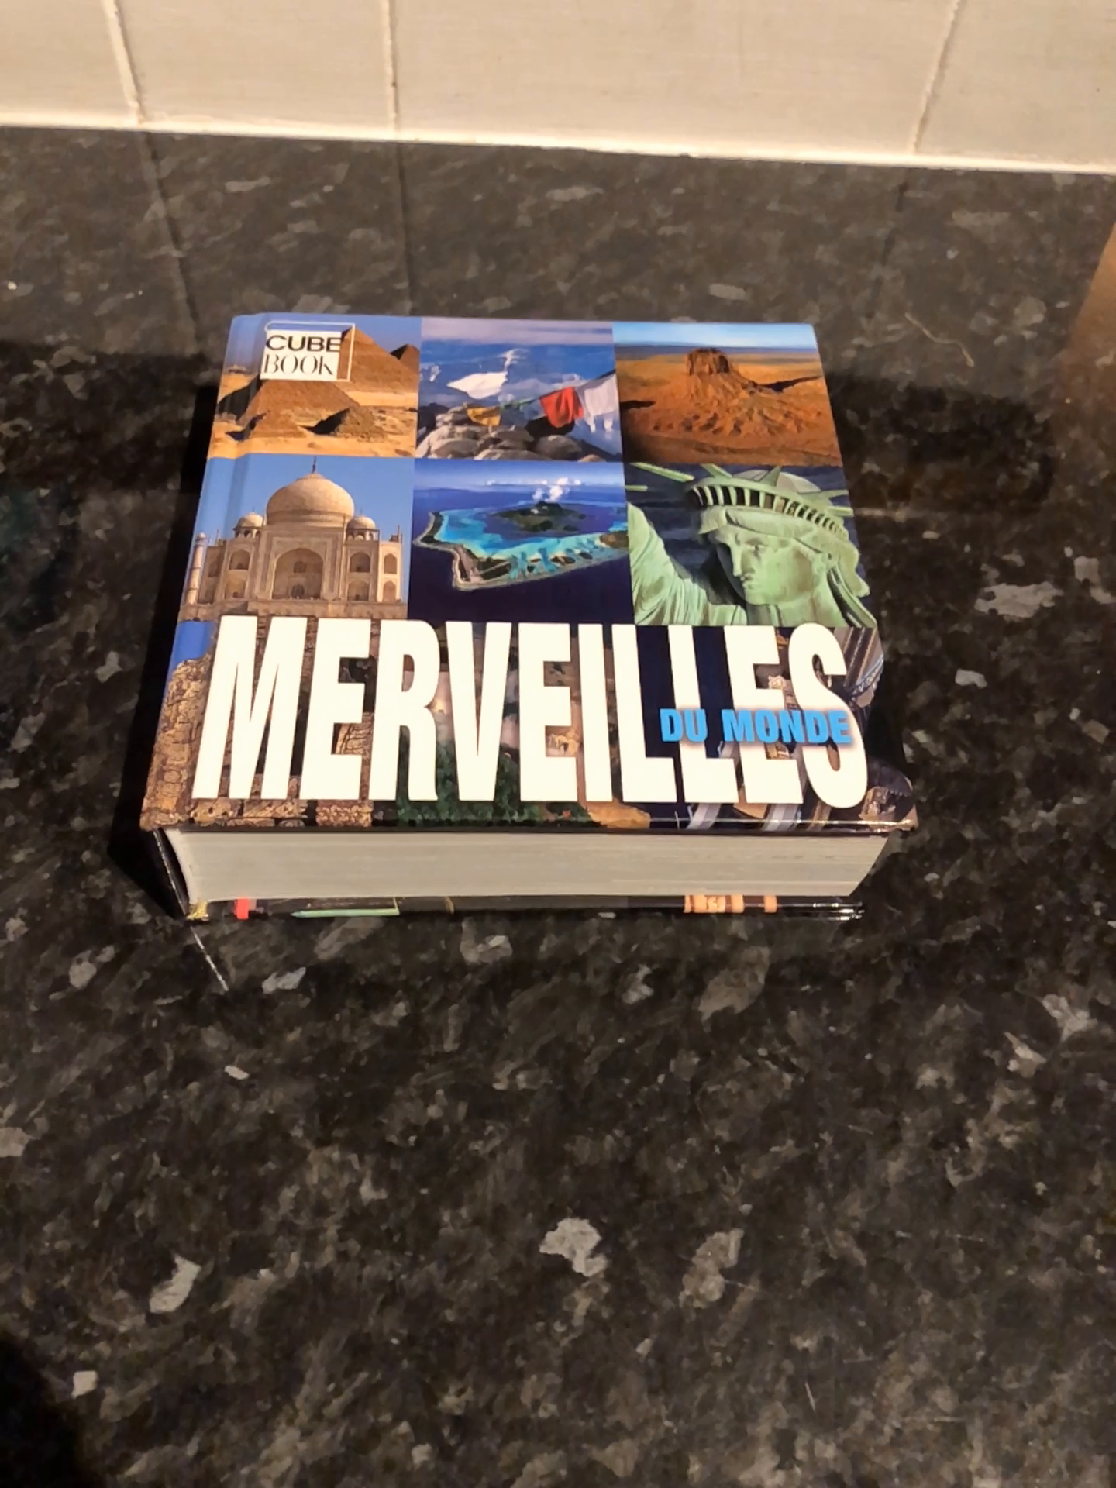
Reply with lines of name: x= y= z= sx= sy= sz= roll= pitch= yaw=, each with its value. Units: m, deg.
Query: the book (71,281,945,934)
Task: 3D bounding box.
book: x=-0.012 y=-0.040 z=0.310 sx=0.170 sy=0.060 sz=0.161 roll=0 pitch=56 yaw=-3
